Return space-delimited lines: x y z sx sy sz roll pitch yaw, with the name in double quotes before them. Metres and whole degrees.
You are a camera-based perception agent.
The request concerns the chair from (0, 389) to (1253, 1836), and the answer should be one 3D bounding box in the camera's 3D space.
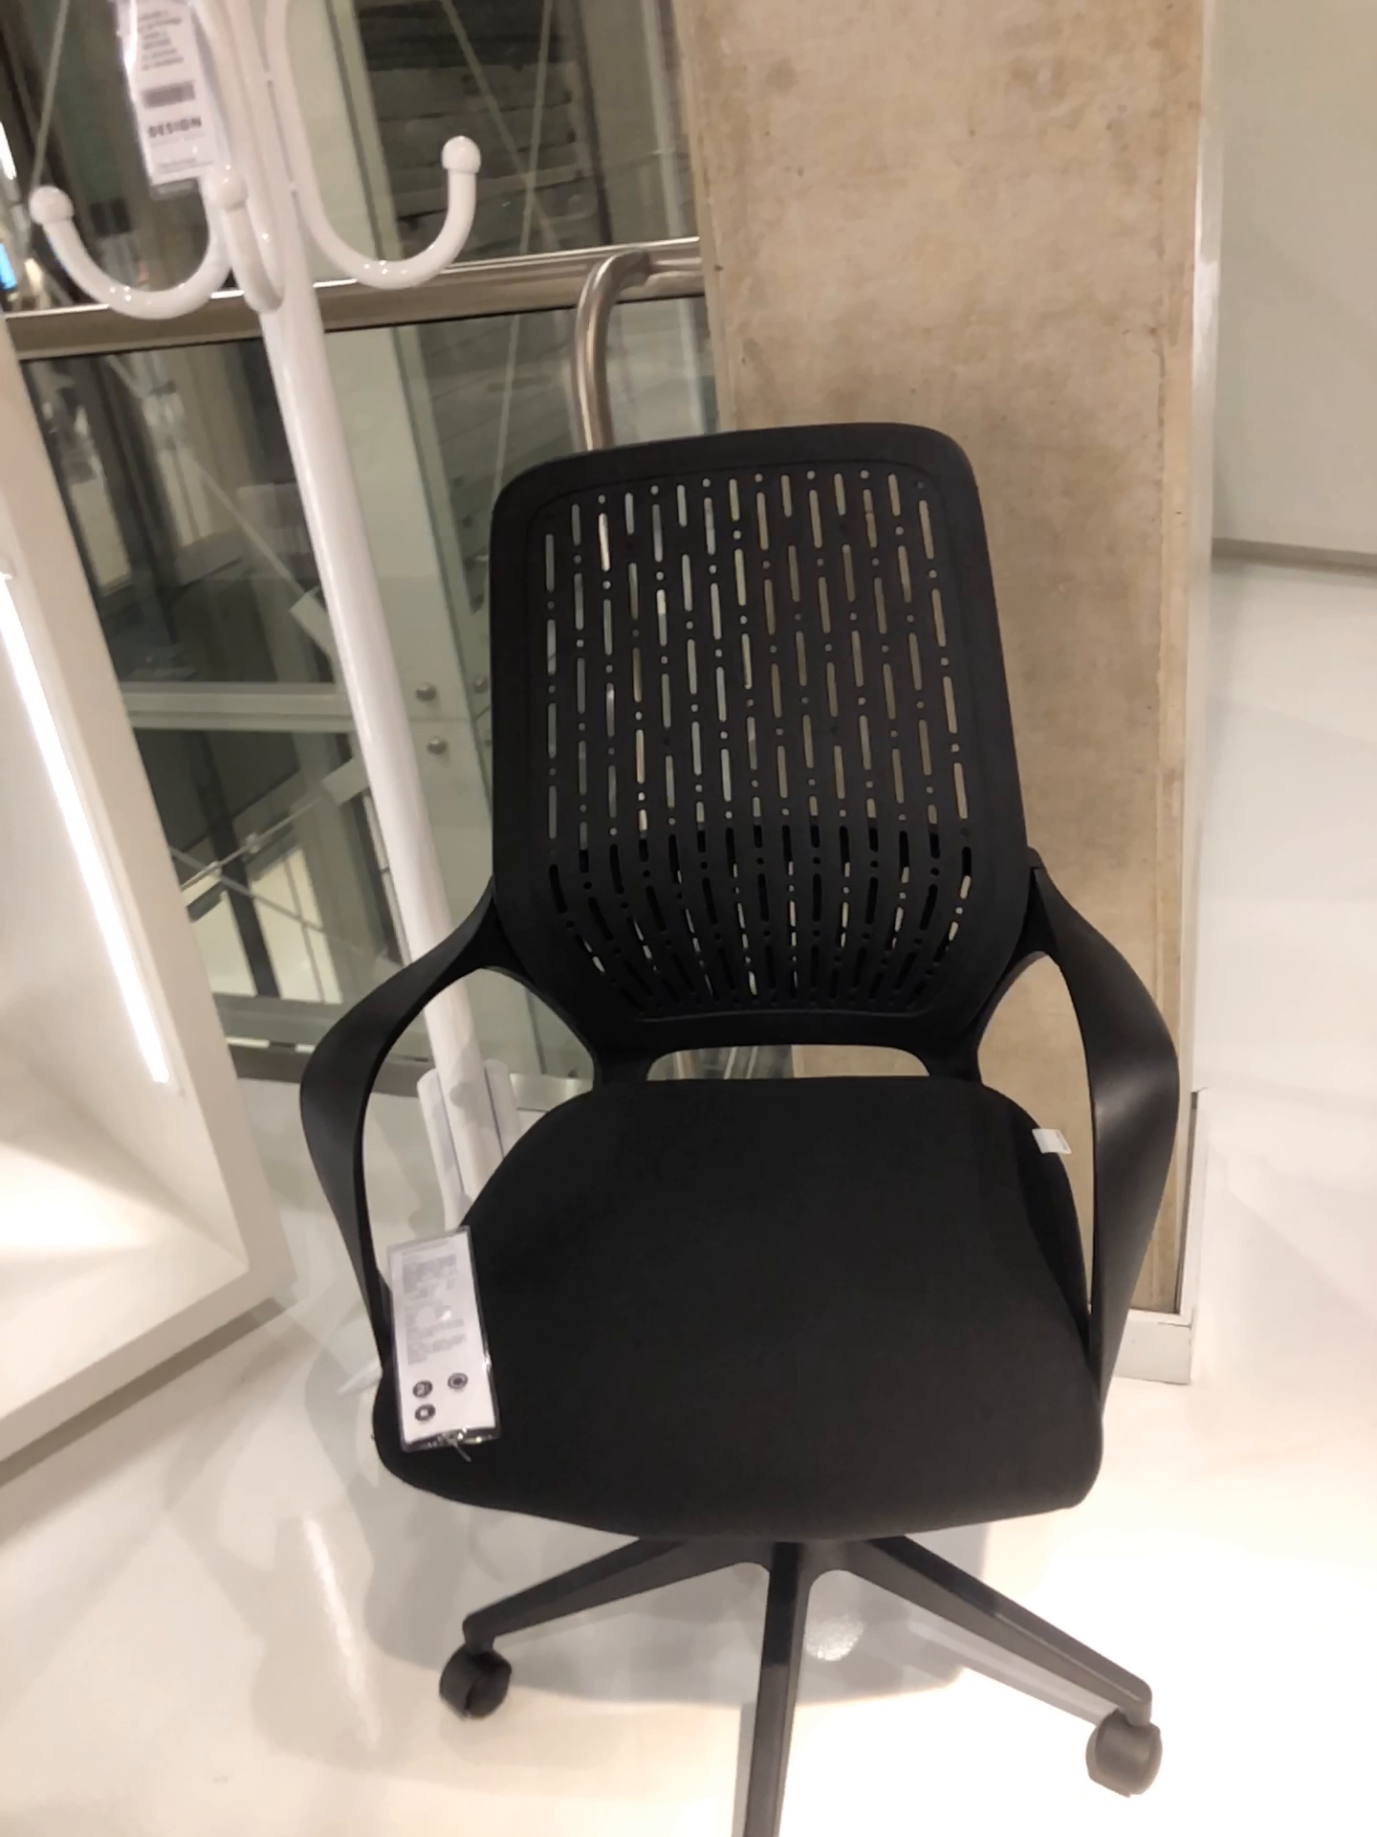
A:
"chair" 0.033 0.212 1.181 0.640 1.022 0.705 -1 28 13
